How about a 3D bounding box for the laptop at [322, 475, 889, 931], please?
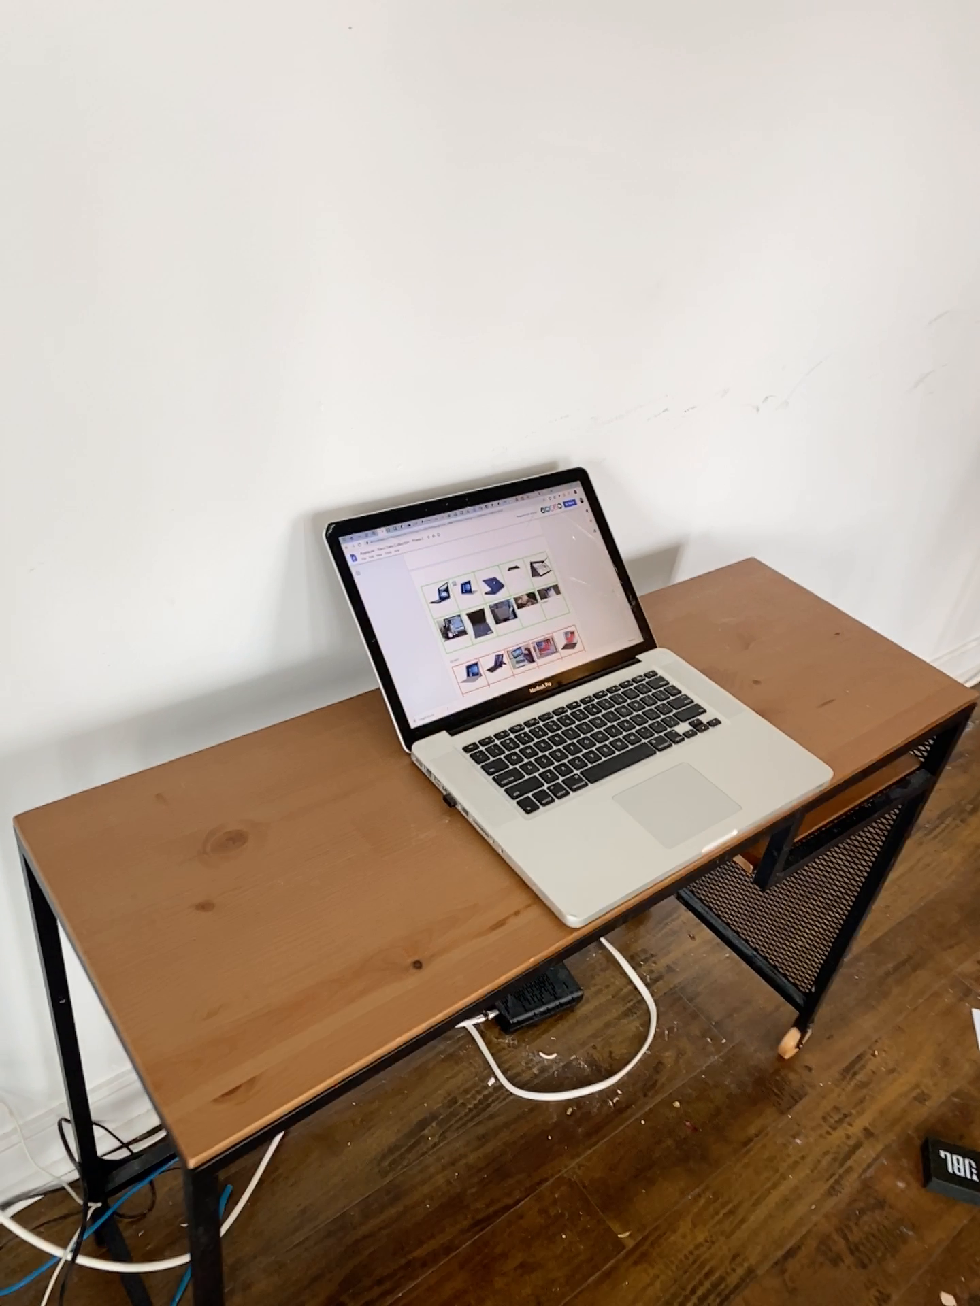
[{"bbox_3d":[0.098,0.008,1.028,0.368,0.151,0.440,-19,44,-34],"label":"laptop"}]
